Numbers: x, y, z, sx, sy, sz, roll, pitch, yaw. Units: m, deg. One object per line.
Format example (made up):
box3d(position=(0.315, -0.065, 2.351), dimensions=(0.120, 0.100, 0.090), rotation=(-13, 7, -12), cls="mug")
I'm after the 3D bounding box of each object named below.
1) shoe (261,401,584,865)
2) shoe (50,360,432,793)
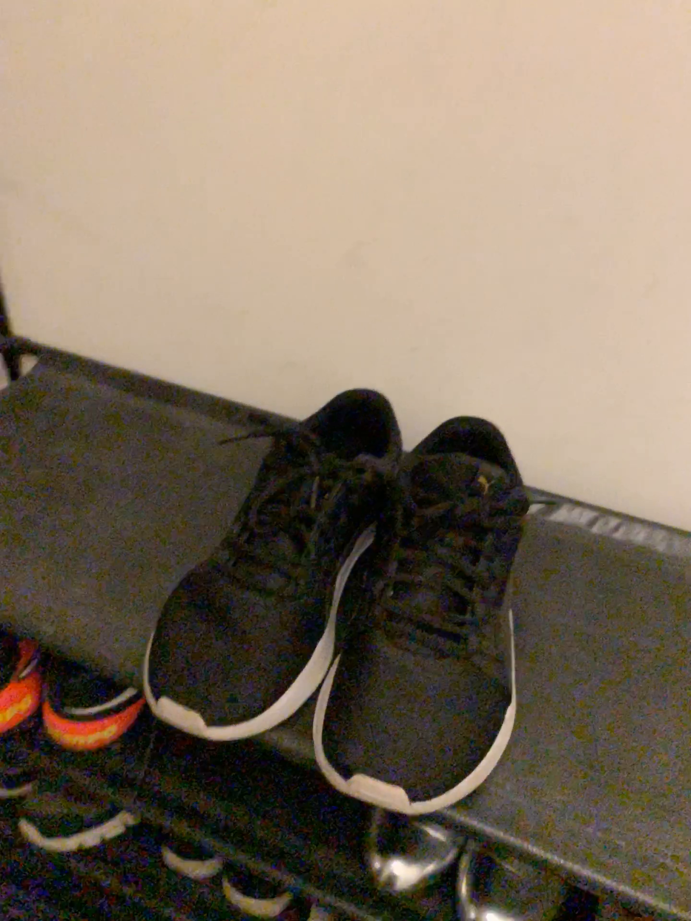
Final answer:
box3d(position=(0.060, 0.071, 0.421), dimensions=(0.110, 0.069, 0.262), rotation=(15, 38, 15), cls="shoe")
box3d(position=(-0.040, 0.045, 0.426), dimensions=(0.110, 0.089, 0.242), rotation=(15, 38, 15), cls="shoe")
